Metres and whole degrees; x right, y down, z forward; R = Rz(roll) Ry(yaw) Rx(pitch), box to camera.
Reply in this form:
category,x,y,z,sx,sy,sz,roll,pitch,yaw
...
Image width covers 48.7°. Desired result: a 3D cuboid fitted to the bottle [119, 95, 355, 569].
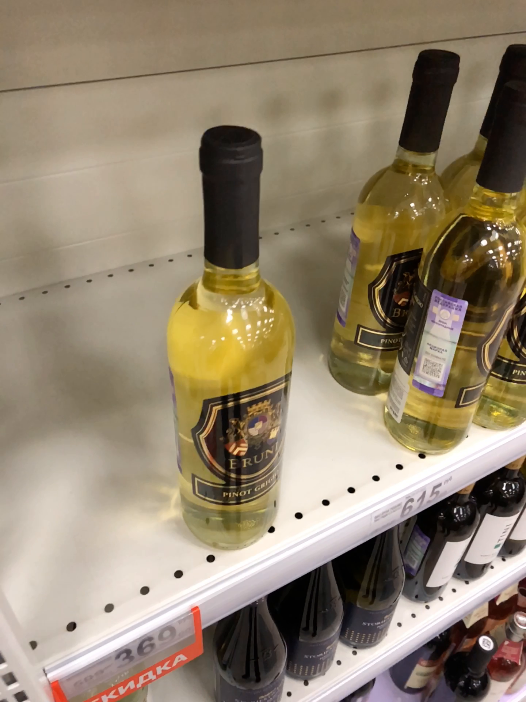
category,x,y,z,sx,sy,sz,roll,pitch,yaw
bottle,-0.020,0.010,0.358,0.080,0.288,0.080,2,41,-2
